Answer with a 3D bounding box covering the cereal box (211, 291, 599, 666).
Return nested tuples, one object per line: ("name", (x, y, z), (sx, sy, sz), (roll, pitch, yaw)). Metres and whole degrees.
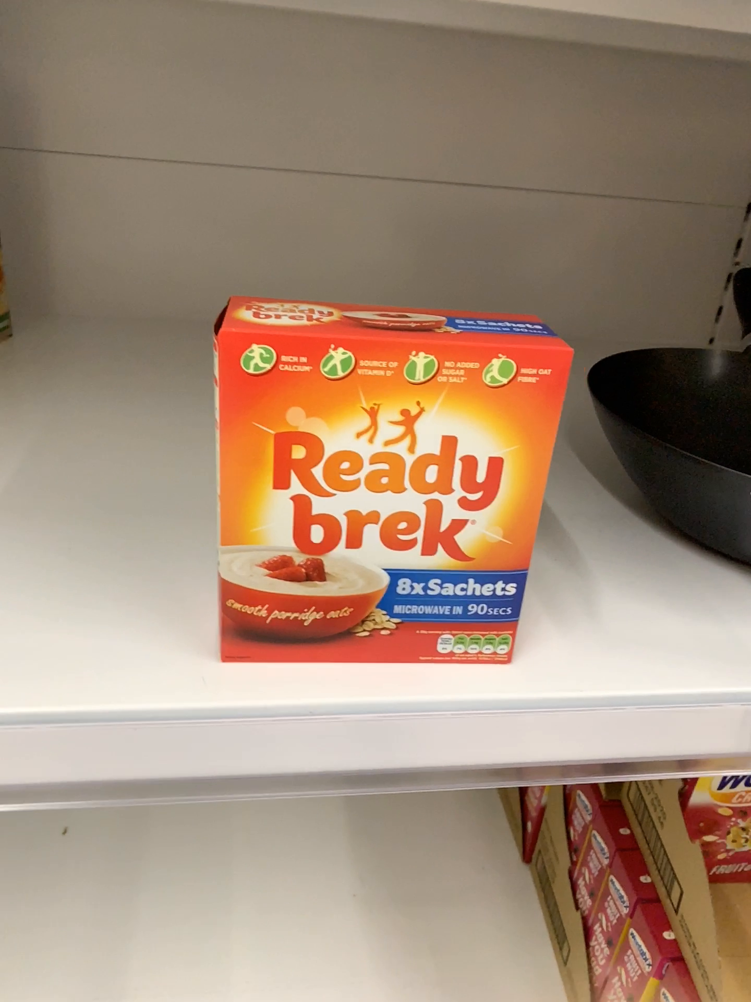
("cereal box", (0.005, -0.007, 0.428), (0.180, 0.188, 0.071), (2, 27, -7))
